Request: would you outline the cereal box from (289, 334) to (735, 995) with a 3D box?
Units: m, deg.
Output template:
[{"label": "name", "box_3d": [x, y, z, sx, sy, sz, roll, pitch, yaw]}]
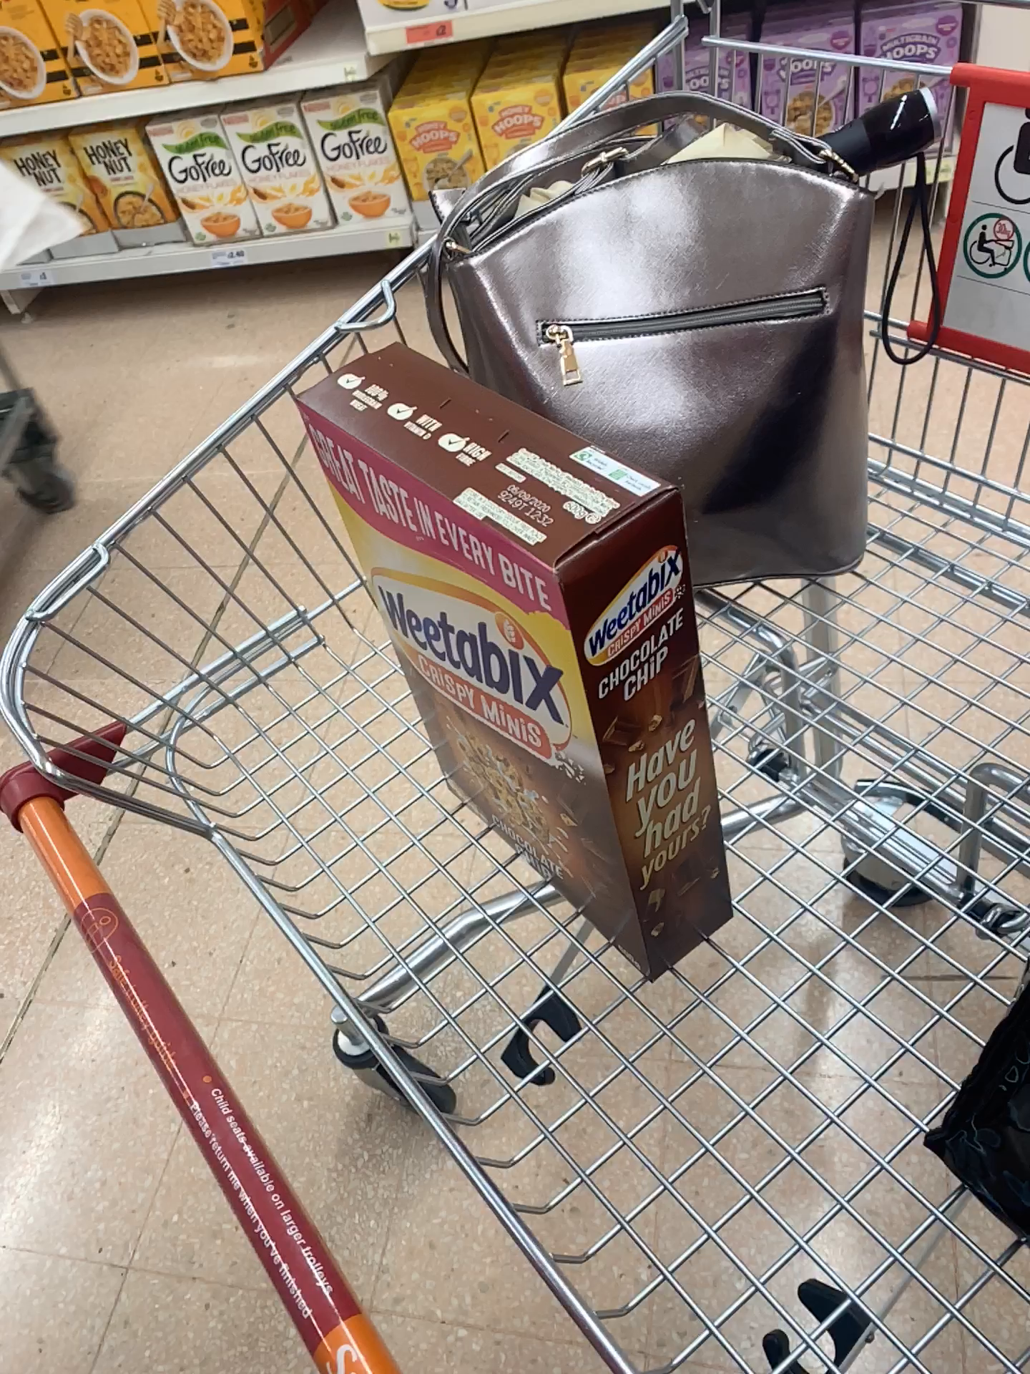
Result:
[{"label": "cereal box", "box_3d": [0.009, -0.002, 0.503, 0.060, 0.277, 0.191, -36, 49, -19]}]
